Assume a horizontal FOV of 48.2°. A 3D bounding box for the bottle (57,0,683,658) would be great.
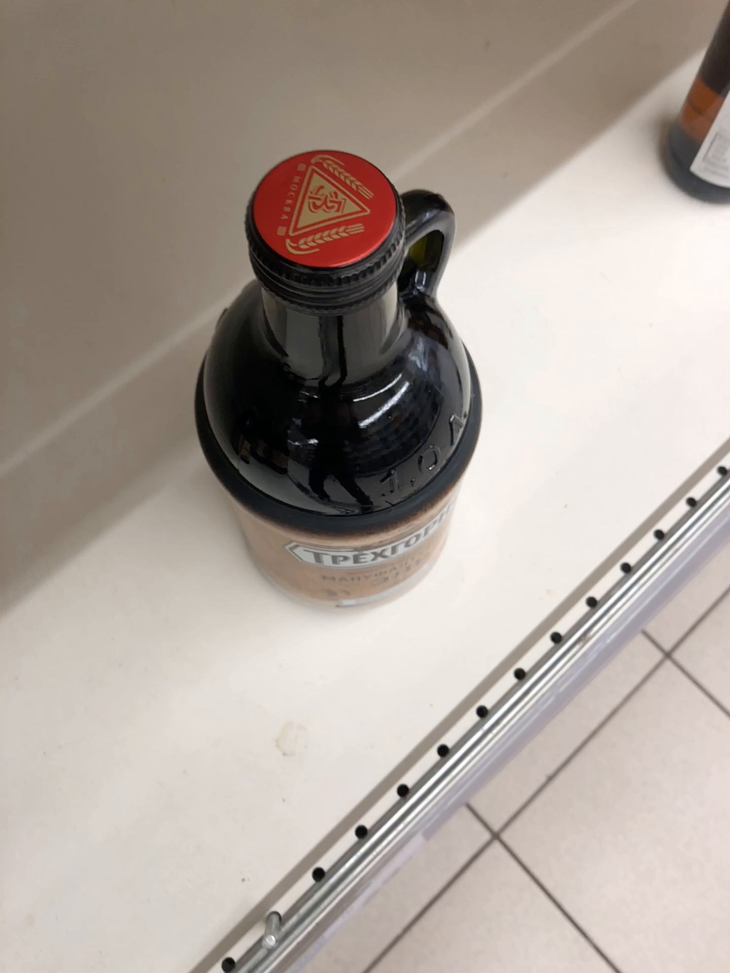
[{"bbox_3d":[-0.001,-0.026,0.296,0.110,0.226,0.100,0,70,0],"label":"bottle"}]
